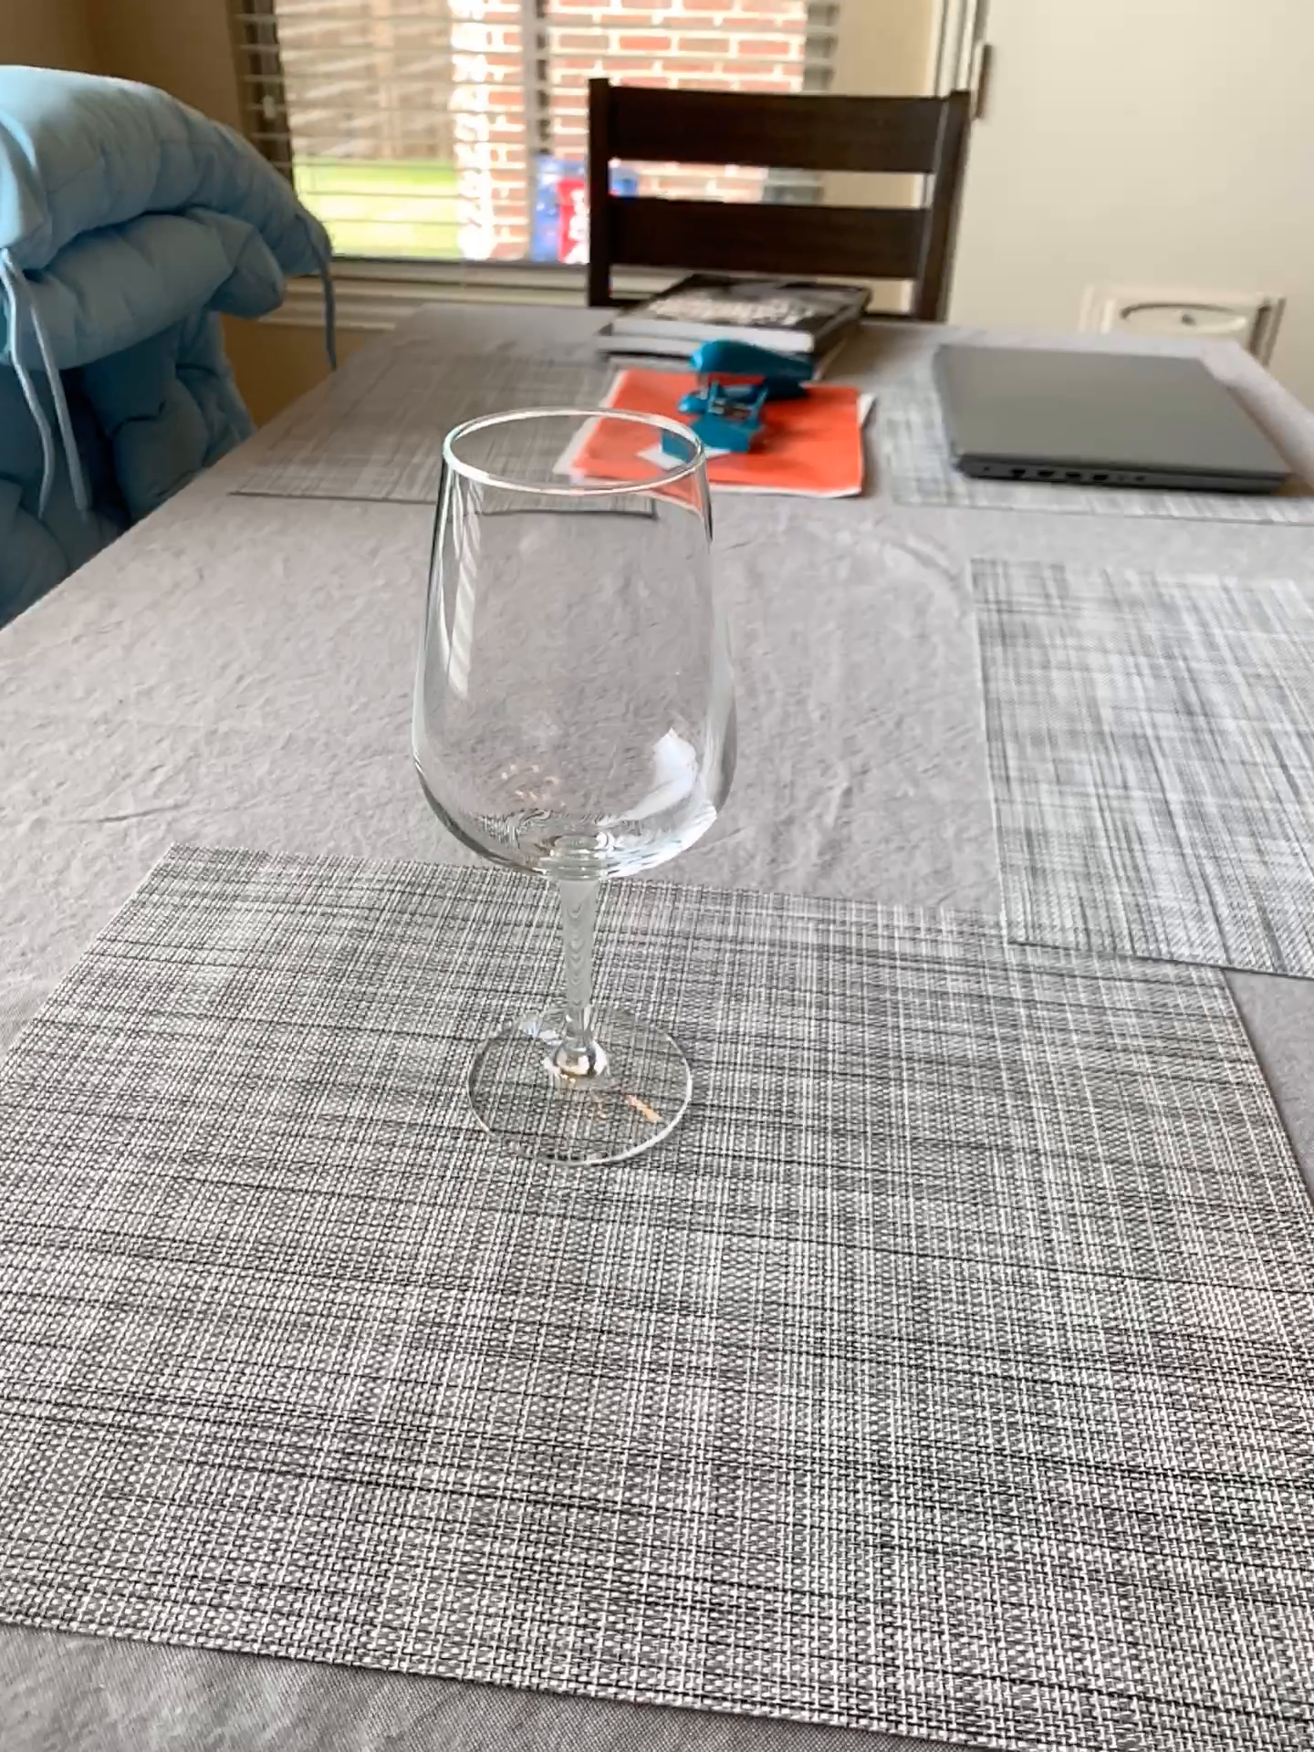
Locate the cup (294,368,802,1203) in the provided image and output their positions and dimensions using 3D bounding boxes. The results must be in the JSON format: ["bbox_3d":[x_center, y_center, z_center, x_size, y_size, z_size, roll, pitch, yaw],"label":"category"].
[{"bbox_3d":[-0.025,-0.023,0.401,0.107,0.214,0.101,2,34,-1],"label":"cup"}]
